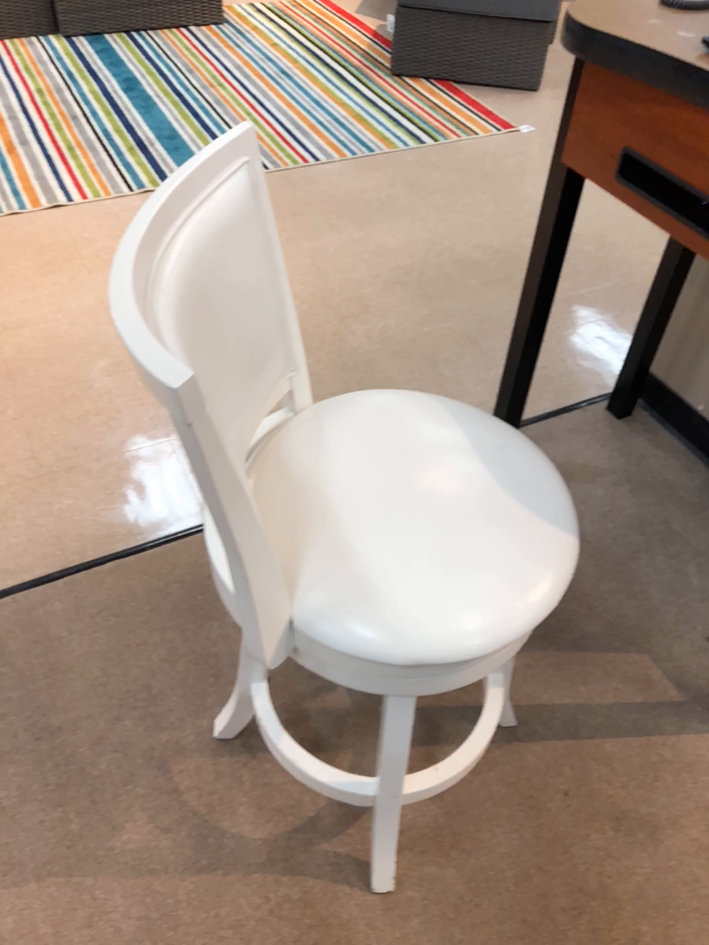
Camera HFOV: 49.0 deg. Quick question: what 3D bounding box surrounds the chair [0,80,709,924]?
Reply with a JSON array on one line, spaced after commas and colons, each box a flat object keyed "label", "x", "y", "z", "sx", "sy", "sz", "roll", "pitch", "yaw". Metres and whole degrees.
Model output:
[{"label": "chair", "x": 0.049, "y": 0.097, "z": 1.061, "sx": 0.570, "sy": 0.944, "sz": 0.624, "roll": 6, "pitch": 45, "yaw": 2}]
